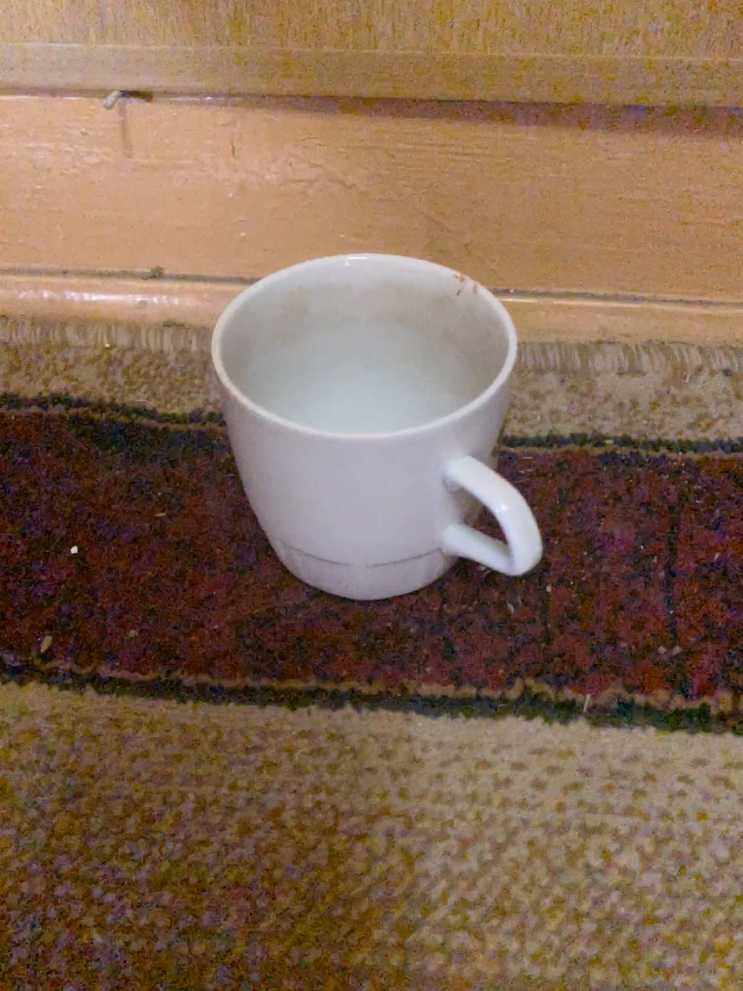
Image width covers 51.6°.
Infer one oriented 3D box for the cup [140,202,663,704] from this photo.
[{"bbox_3d":[0.005,-0.020,0.229,0.081,0.075,0.114,-34,54,-28],"label":"cup"}]
